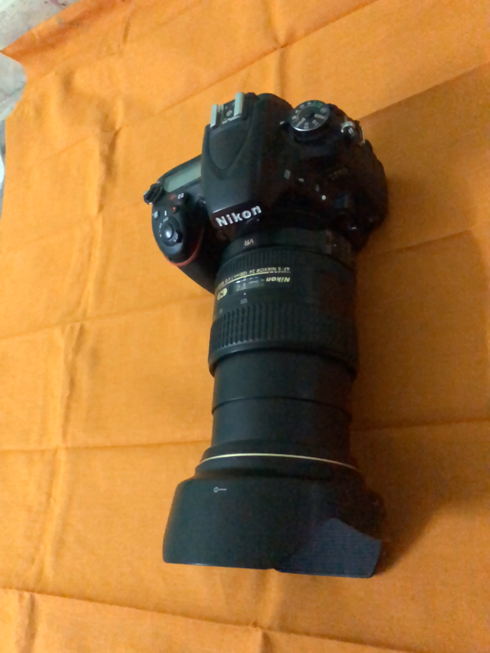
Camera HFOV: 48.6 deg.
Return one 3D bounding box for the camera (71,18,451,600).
[{"bbox_3d":[0.013,-0.002,0.302,0.131,0.120,0.264,-14,63,31],"label":"camera"}]
